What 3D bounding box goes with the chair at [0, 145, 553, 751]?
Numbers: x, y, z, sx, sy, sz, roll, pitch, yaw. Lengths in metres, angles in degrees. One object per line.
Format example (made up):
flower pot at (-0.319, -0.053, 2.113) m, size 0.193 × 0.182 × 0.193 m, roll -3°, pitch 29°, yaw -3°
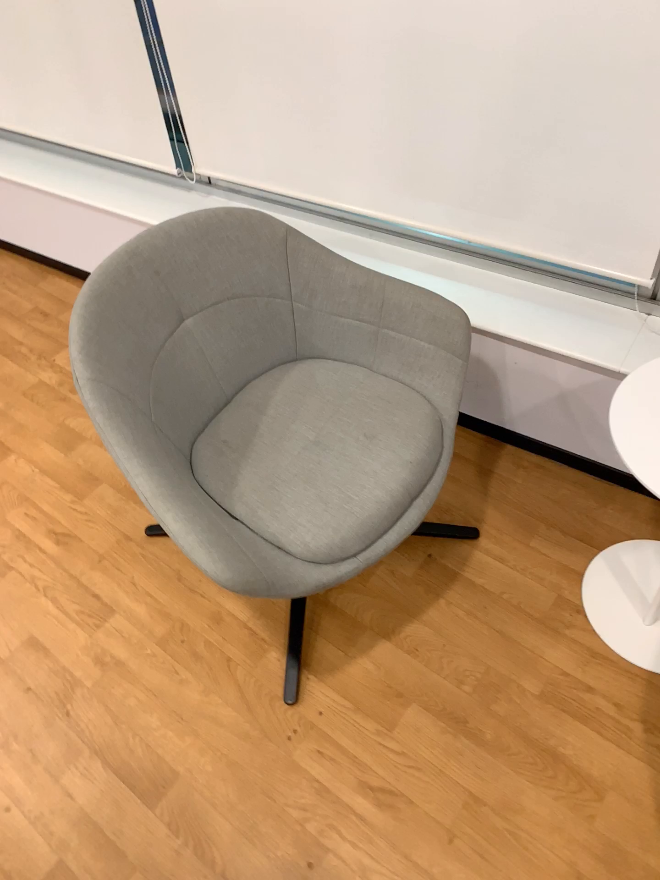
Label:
chair at (-0.087, -0.006, 1.336) m, size 0.682 × 0.754 × 0.673 m, roll 28°, pitch 57°, yaw 28°
